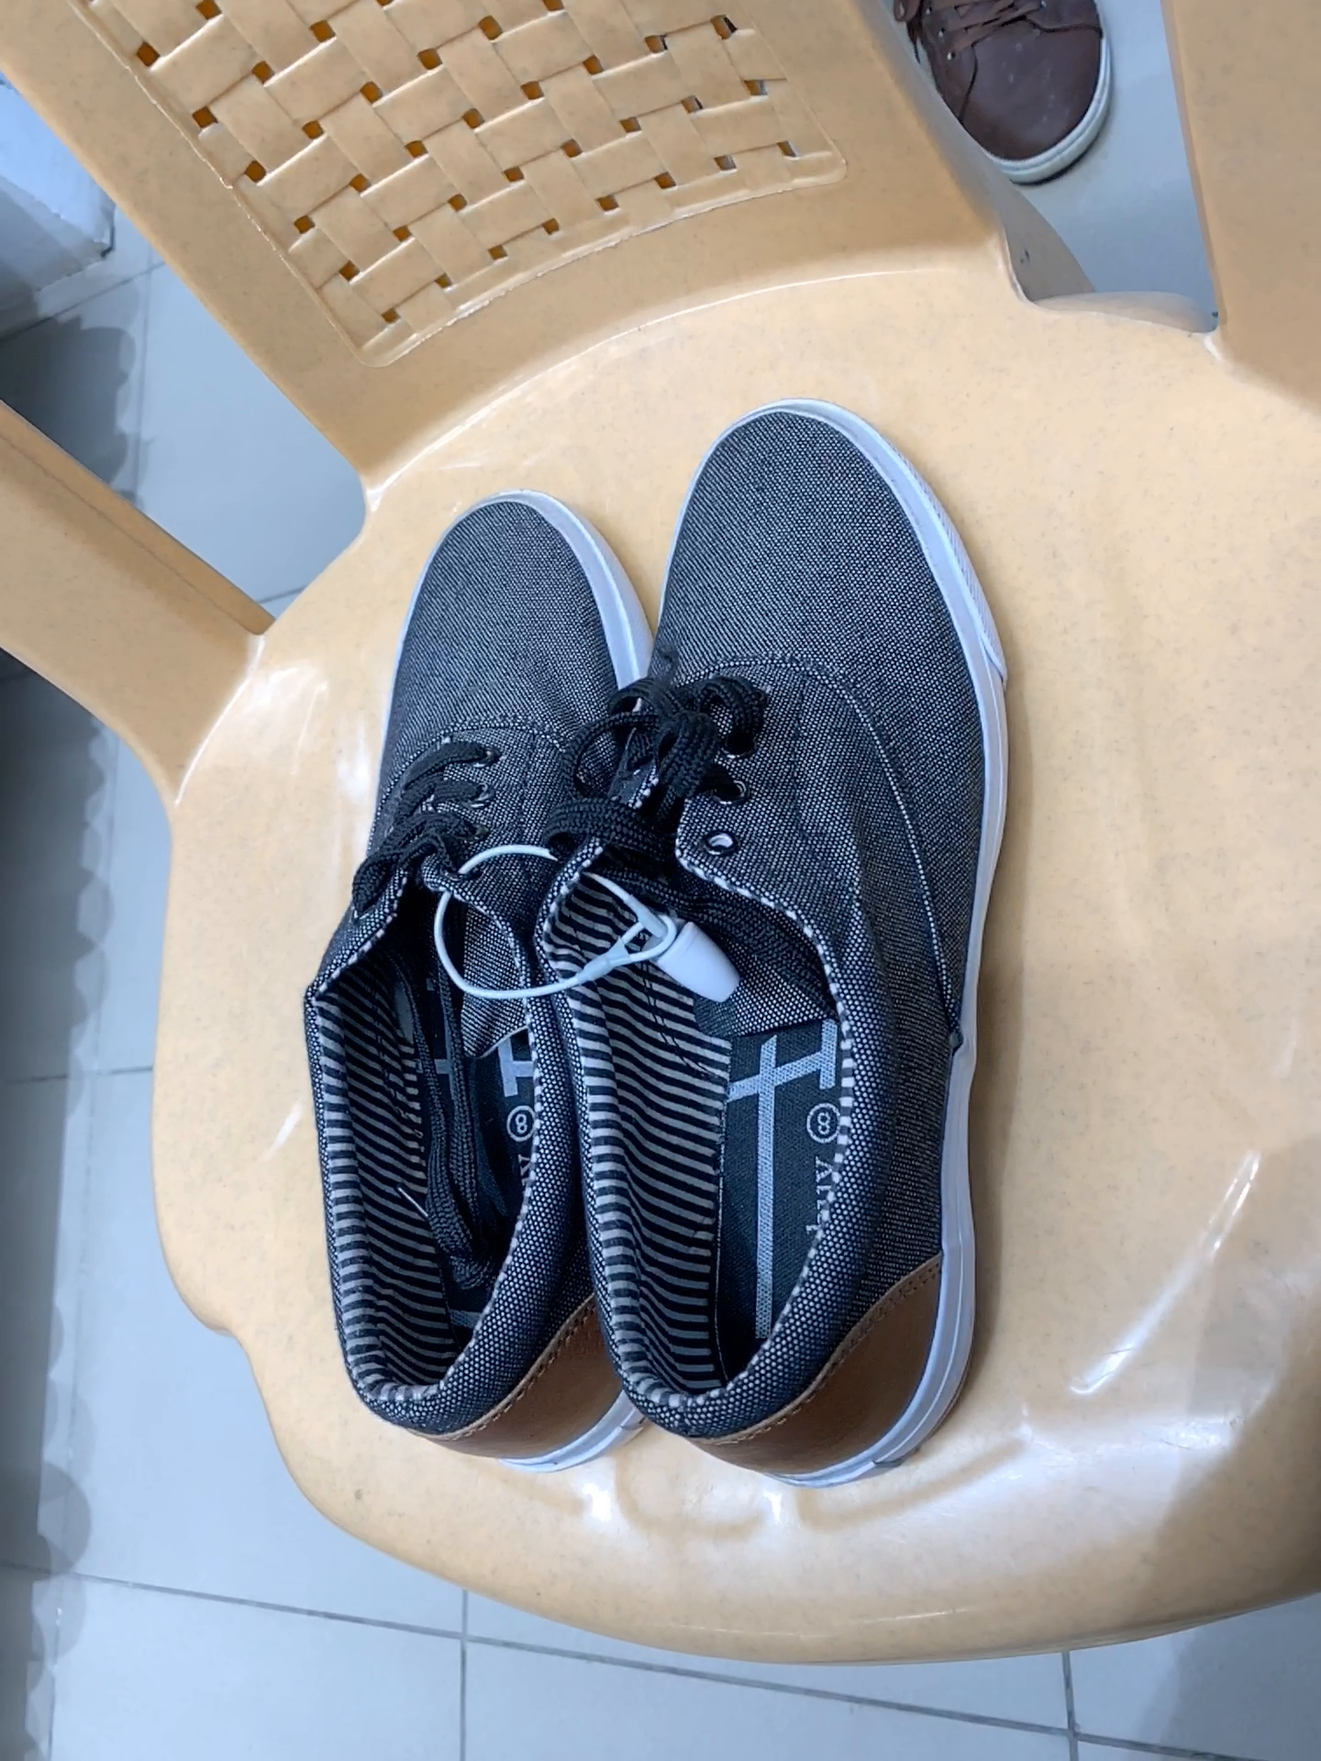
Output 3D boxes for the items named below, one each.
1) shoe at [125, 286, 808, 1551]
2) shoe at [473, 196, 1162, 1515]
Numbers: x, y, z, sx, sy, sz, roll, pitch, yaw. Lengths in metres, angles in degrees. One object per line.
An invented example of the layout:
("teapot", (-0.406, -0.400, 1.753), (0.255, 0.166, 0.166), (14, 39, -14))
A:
("shoe", (-0.052, 0.012, 0.340), (0.100, 0.110, 0.260), (-16, 72, 26))
("shoe", (0.036, -0.001, 0.339), (0.110, 0.110, 0.270), (-12, 73, 28))
